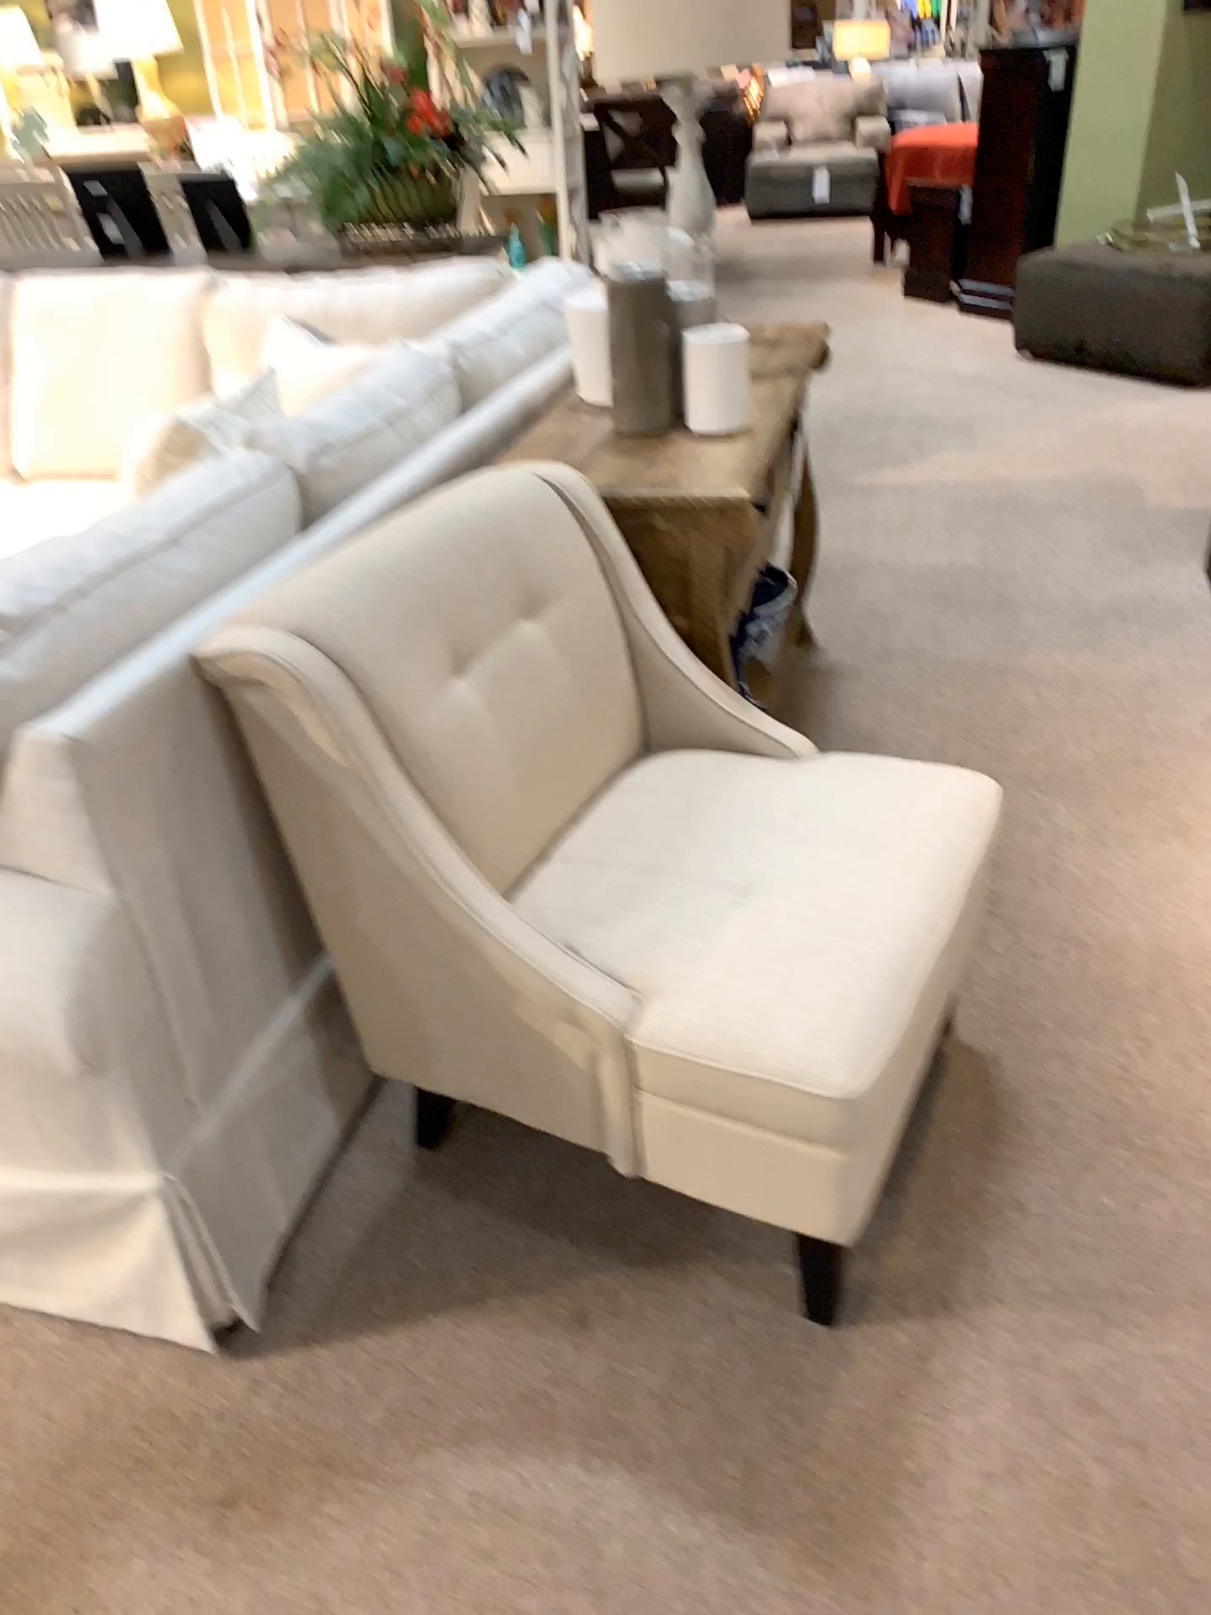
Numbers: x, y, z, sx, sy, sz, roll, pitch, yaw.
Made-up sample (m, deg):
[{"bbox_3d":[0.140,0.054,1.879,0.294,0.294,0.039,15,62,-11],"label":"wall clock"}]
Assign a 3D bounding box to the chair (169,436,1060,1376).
[{"bbox_3d":[0.072,0.044,1.595,0.771,0.800,0.716,12,35,24],"label":"chair"}]
